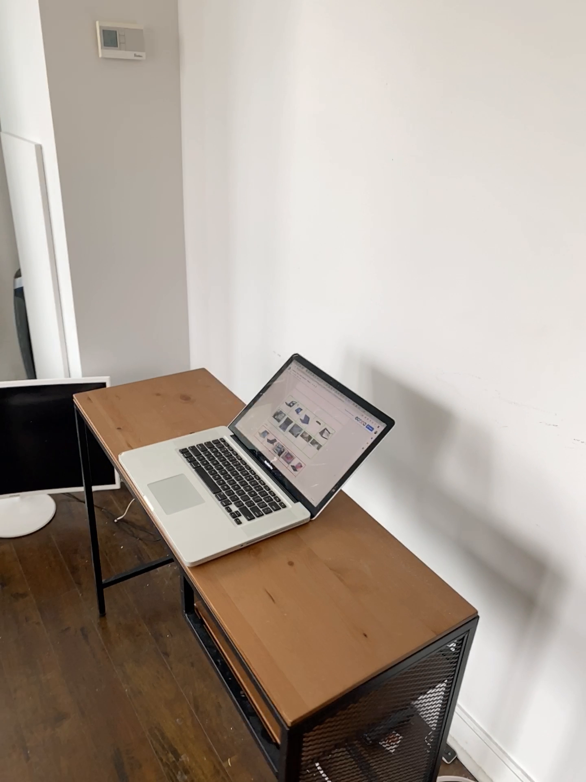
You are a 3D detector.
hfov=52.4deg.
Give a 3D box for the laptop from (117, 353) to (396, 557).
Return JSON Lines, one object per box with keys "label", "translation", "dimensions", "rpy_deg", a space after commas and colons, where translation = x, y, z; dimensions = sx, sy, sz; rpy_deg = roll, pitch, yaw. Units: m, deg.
{"label": "laptop", "translation": [-0.082, 0.097, 1.223], "dimensions": [0.435, 0.155, 0.361], "rpy_deg": [-14, 31, -30]}
